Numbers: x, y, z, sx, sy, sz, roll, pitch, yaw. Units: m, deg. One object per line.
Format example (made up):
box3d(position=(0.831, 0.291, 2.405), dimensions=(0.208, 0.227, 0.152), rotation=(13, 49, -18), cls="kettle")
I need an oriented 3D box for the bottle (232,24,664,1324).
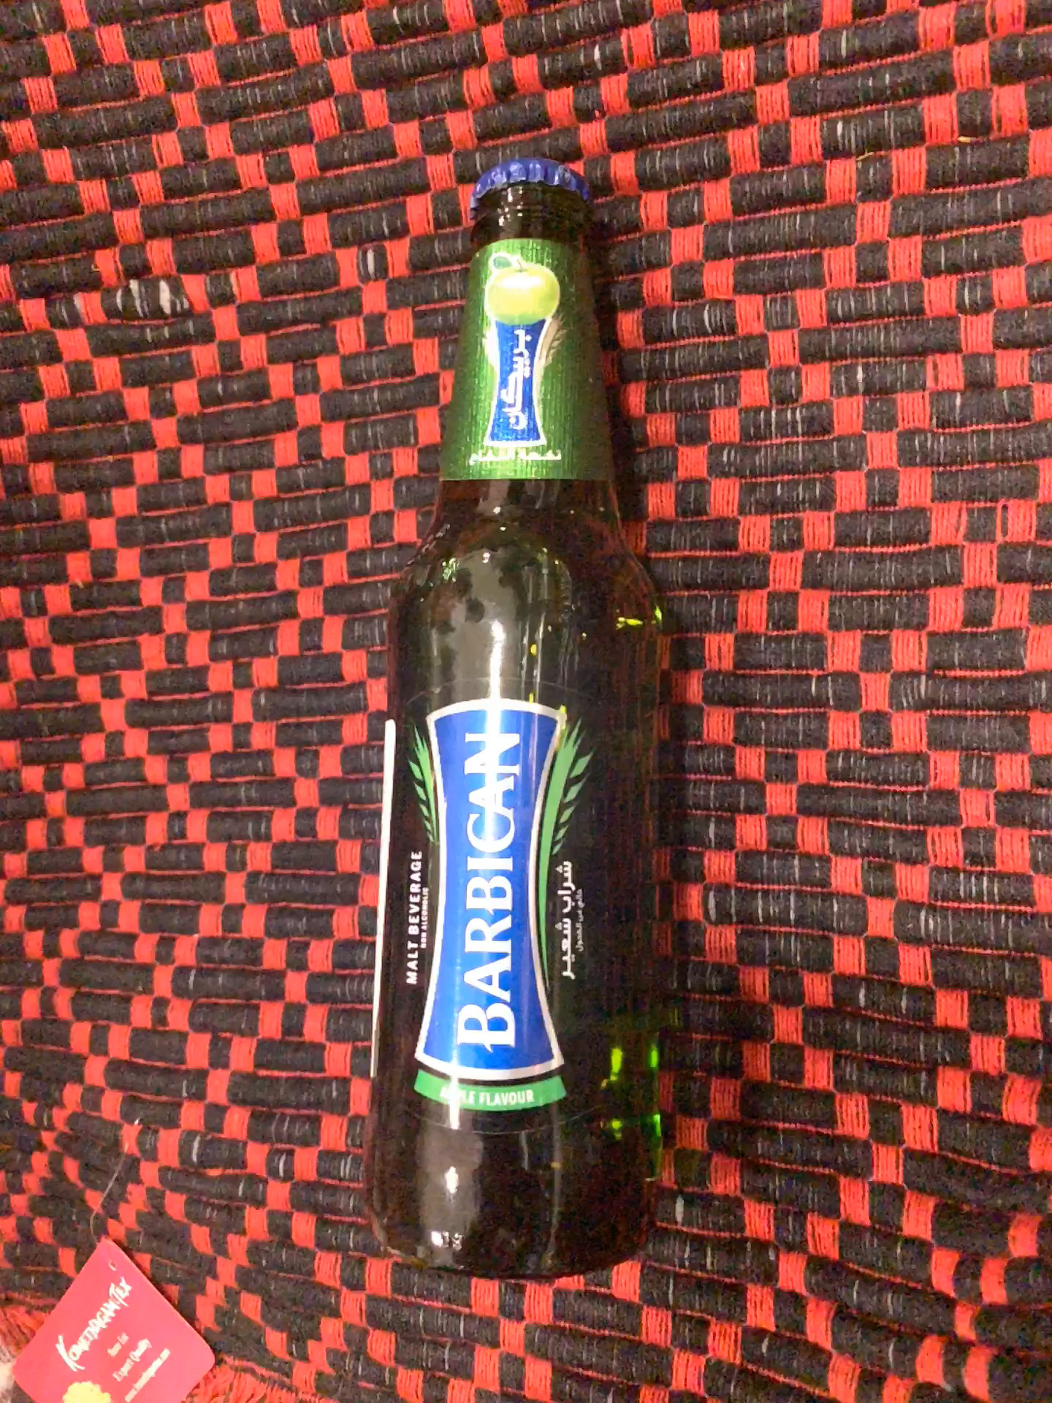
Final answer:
box3d(position=(-0.011, -0.011, 0.232), dimensions=(0.070, 0.050, 0.238), rotation=(-2, 80, 20), cls="bottle")
